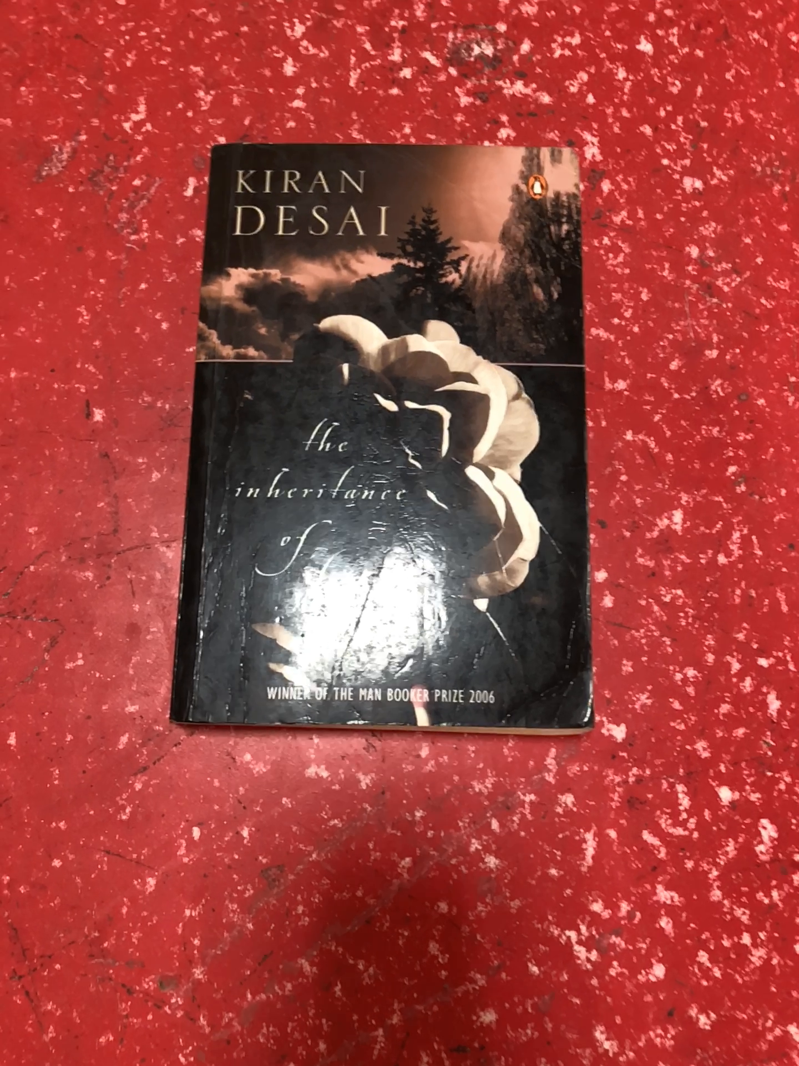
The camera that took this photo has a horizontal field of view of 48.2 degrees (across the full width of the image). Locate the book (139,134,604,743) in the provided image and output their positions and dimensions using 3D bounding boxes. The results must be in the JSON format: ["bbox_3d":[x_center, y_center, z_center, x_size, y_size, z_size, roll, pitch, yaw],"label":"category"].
[{"bbox_3d":[-0.006,-0.029,0.299,0.130,0.060,0.190,1,78,1],"label":"book"}]
